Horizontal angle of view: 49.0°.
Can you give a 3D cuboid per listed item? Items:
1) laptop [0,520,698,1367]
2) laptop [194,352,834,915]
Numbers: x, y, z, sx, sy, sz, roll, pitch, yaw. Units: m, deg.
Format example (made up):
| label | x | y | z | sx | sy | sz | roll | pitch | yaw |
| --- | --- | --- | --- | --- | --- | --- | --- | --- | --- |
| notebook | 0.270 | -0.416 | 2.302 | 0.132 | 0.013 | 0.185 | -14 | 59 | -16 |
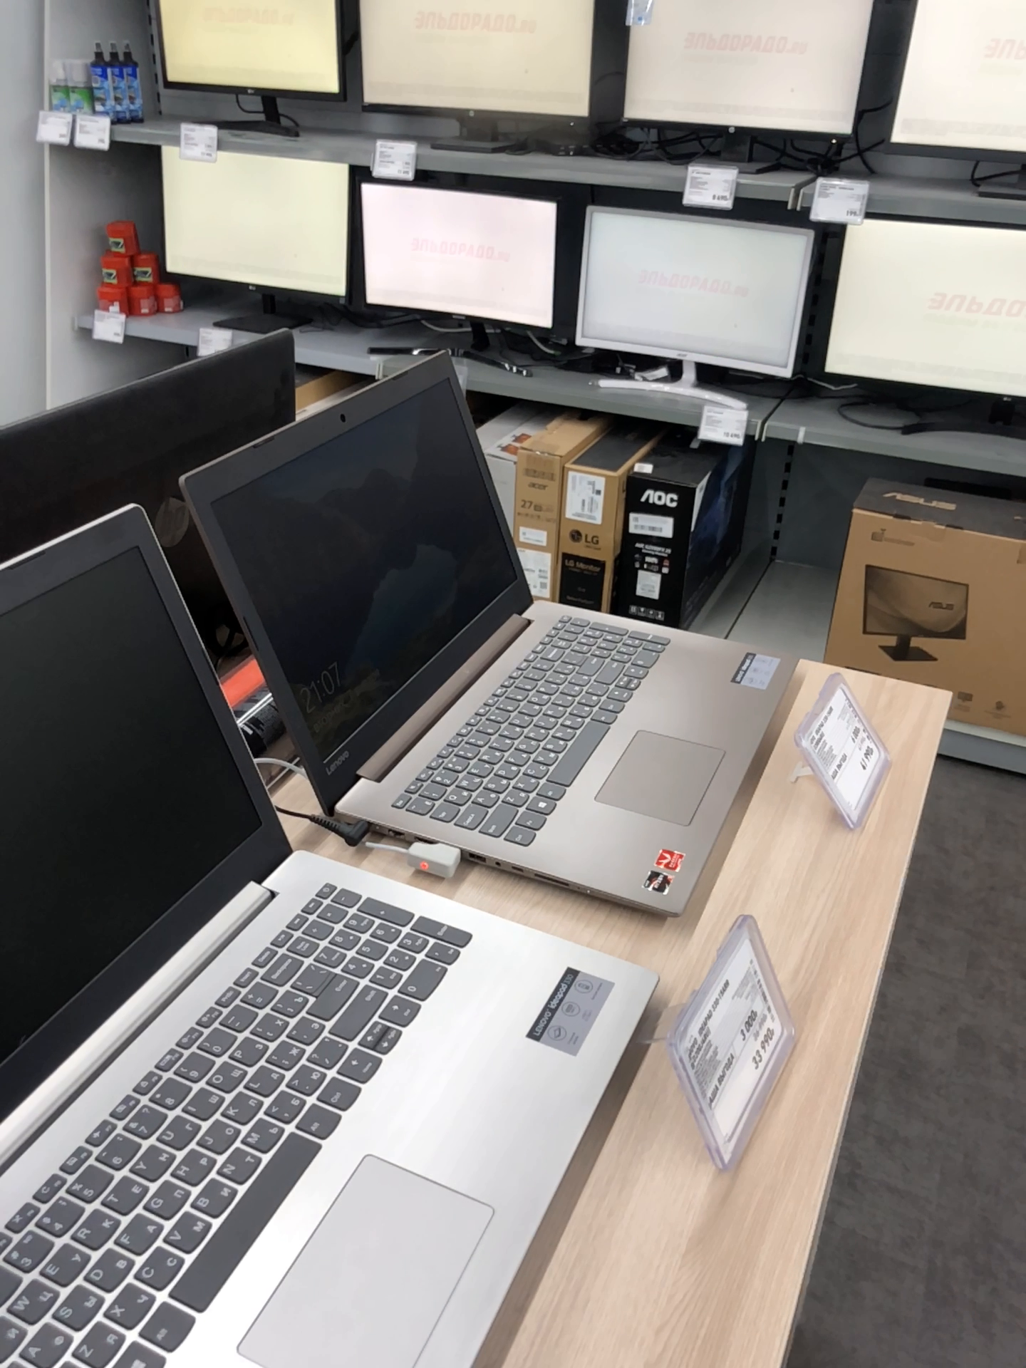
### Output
| label | x | y | z | sx | sy | sz | roll | pitch | yaw |
| --- | --- | --- | --- | --- | --- | --- | --- | --- | --- |
| laptop | -0.135 | 0.105 | 0.486 | 0.322 | 0.207 | 0.344 | 13 | 30 | 18 |
| laptop | 0.022 | -0.073 | 0.818 | 0.328 | 0.209 | 0.352 | 14 | 32 | 19 |
